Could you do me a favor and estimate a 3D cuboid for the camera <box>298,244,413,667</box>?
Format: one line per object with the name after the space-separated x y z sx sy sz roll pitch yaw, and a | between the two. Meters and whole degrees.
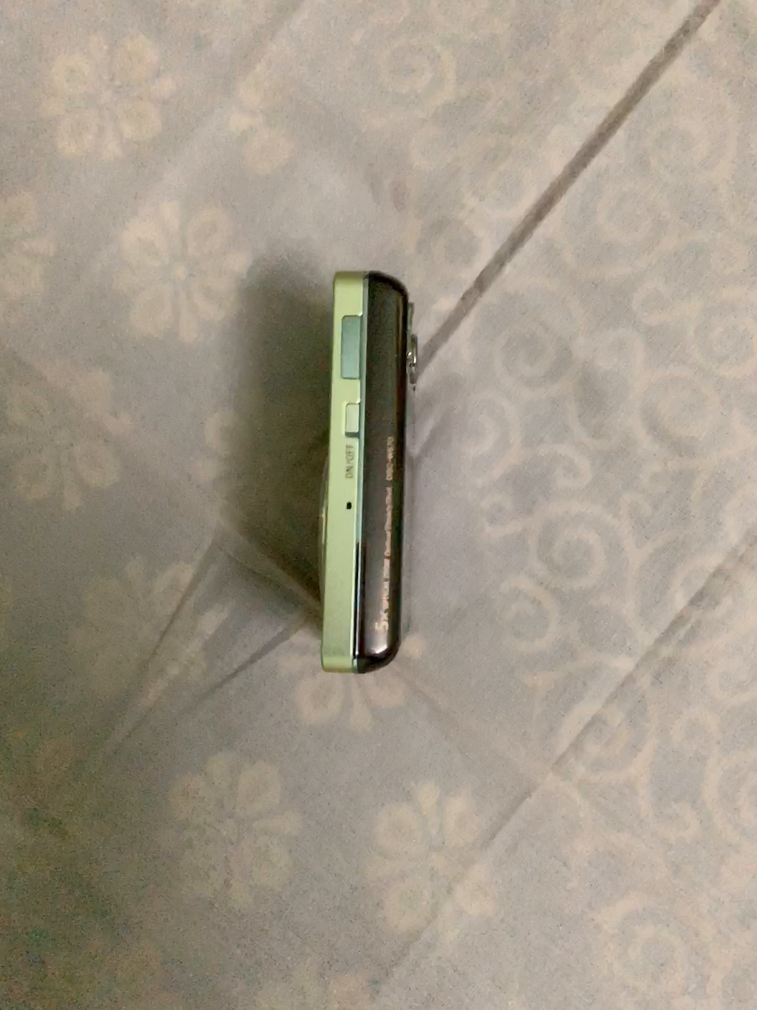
-0.003 -0.009 0.192 0.021 0.060 0.088 1 85 4 | camera
